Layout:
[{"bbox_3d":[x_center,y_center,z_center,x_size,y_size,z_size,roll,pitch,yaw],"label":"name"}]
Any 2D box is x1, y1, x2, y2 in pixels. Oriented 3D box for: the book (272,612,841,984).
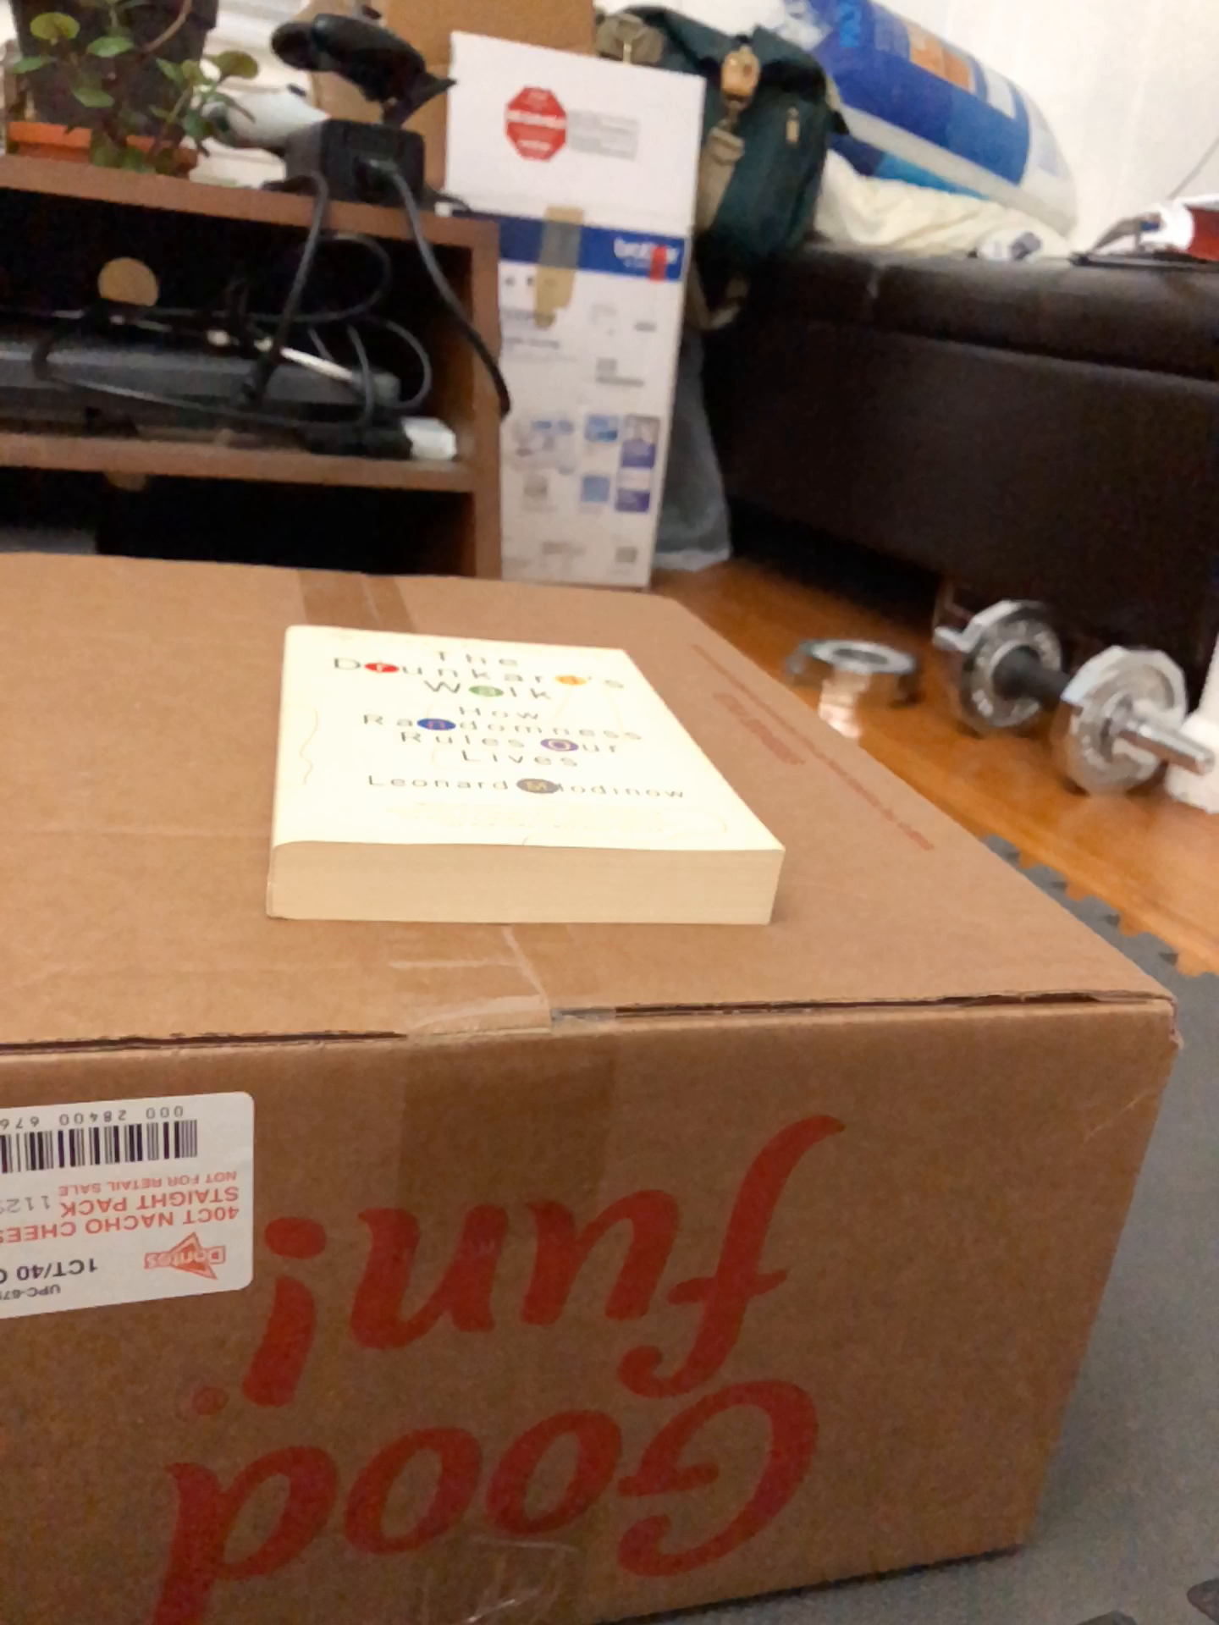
[{"bbox_3d":[-0.033,-0.015,0.430,0.140,0.040,0.211,1,22,-13],"label":"book"}]
